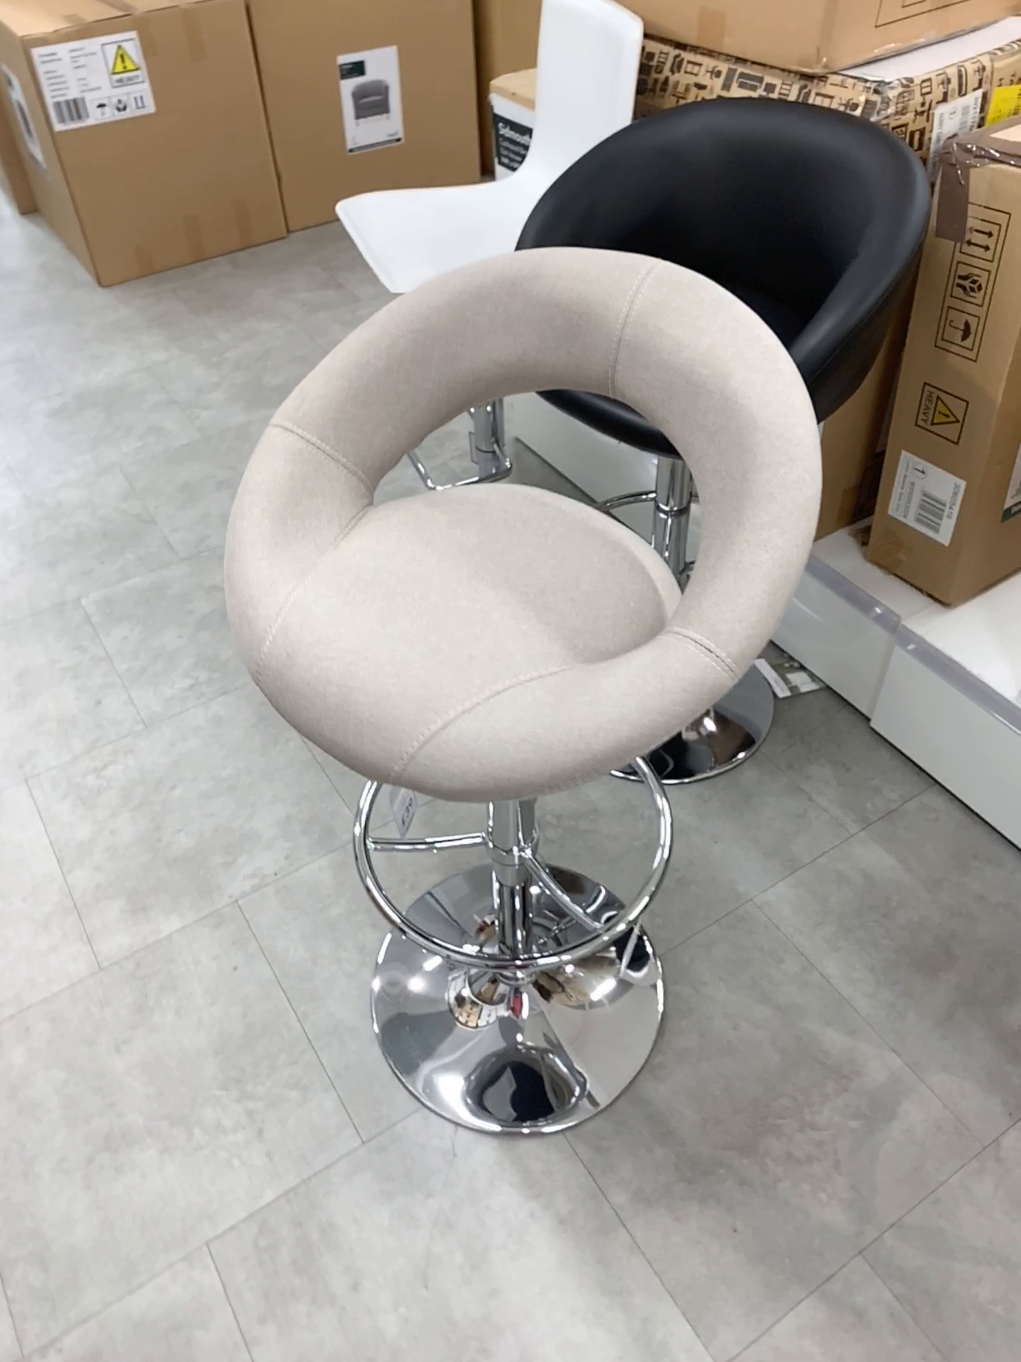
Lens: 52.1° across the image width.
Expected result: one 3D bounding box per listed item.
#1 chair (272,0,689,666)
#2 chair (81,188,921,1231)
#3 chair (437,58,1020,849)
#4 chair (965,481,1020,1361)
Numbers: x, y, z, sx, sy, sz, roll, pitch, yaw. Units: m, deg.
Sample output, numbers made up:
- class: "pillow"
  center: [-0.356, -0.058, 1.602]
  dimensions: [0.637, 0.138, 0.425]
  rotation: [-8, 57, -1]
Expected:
- class: "chair"
  center: [-0.054, -0.622, 1.874]
  dimensions: [0.484, 1.008, 0.538]
  rotation: [-13, 45, -10]
- class: "chair"
  center: [-0.004, 0.083, 1.168]
  dimensions: [0.465, 0.978, 0.487]
  rotation: [-32, 51, -26]
- class: "chair"
  center: [0.270, -0.313, 1.576]
  dimensions: [0.485, 0.938, 0.497]
  rotation: [-32, 51, -26]
- class: "chair"
  center: [0.911, 0.417, 0.872]
  dimensions: [0.574, 0.909, 0.538]
  rotation: [-13, 45, -10]
